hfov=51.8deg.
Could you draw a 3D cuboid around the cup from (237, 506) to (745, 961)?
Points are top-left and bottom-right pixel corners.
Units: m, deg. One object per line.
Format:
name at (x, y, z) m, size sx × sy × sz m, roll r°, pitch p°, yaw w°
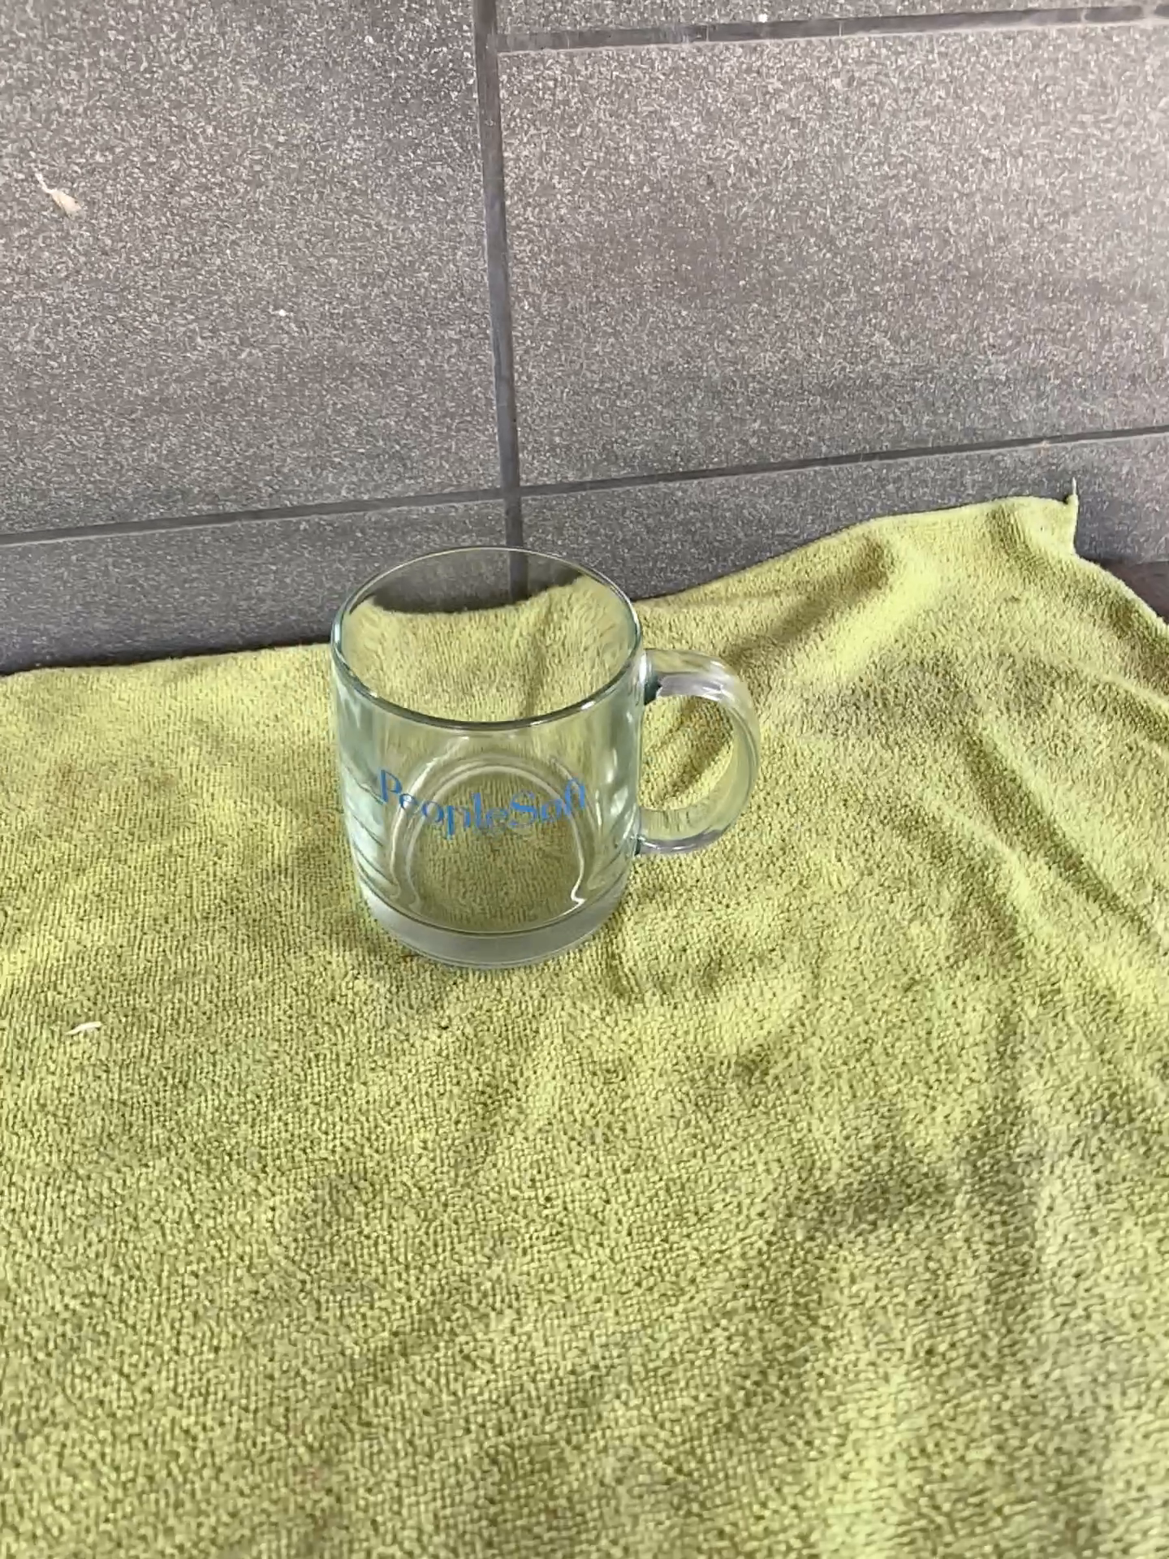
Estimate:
cup at (-0.023, -0.013, 0.348) m, size 0.120 × 0.100 × 0.080 m, roll -2°, pitch 41°, yaw -1°
